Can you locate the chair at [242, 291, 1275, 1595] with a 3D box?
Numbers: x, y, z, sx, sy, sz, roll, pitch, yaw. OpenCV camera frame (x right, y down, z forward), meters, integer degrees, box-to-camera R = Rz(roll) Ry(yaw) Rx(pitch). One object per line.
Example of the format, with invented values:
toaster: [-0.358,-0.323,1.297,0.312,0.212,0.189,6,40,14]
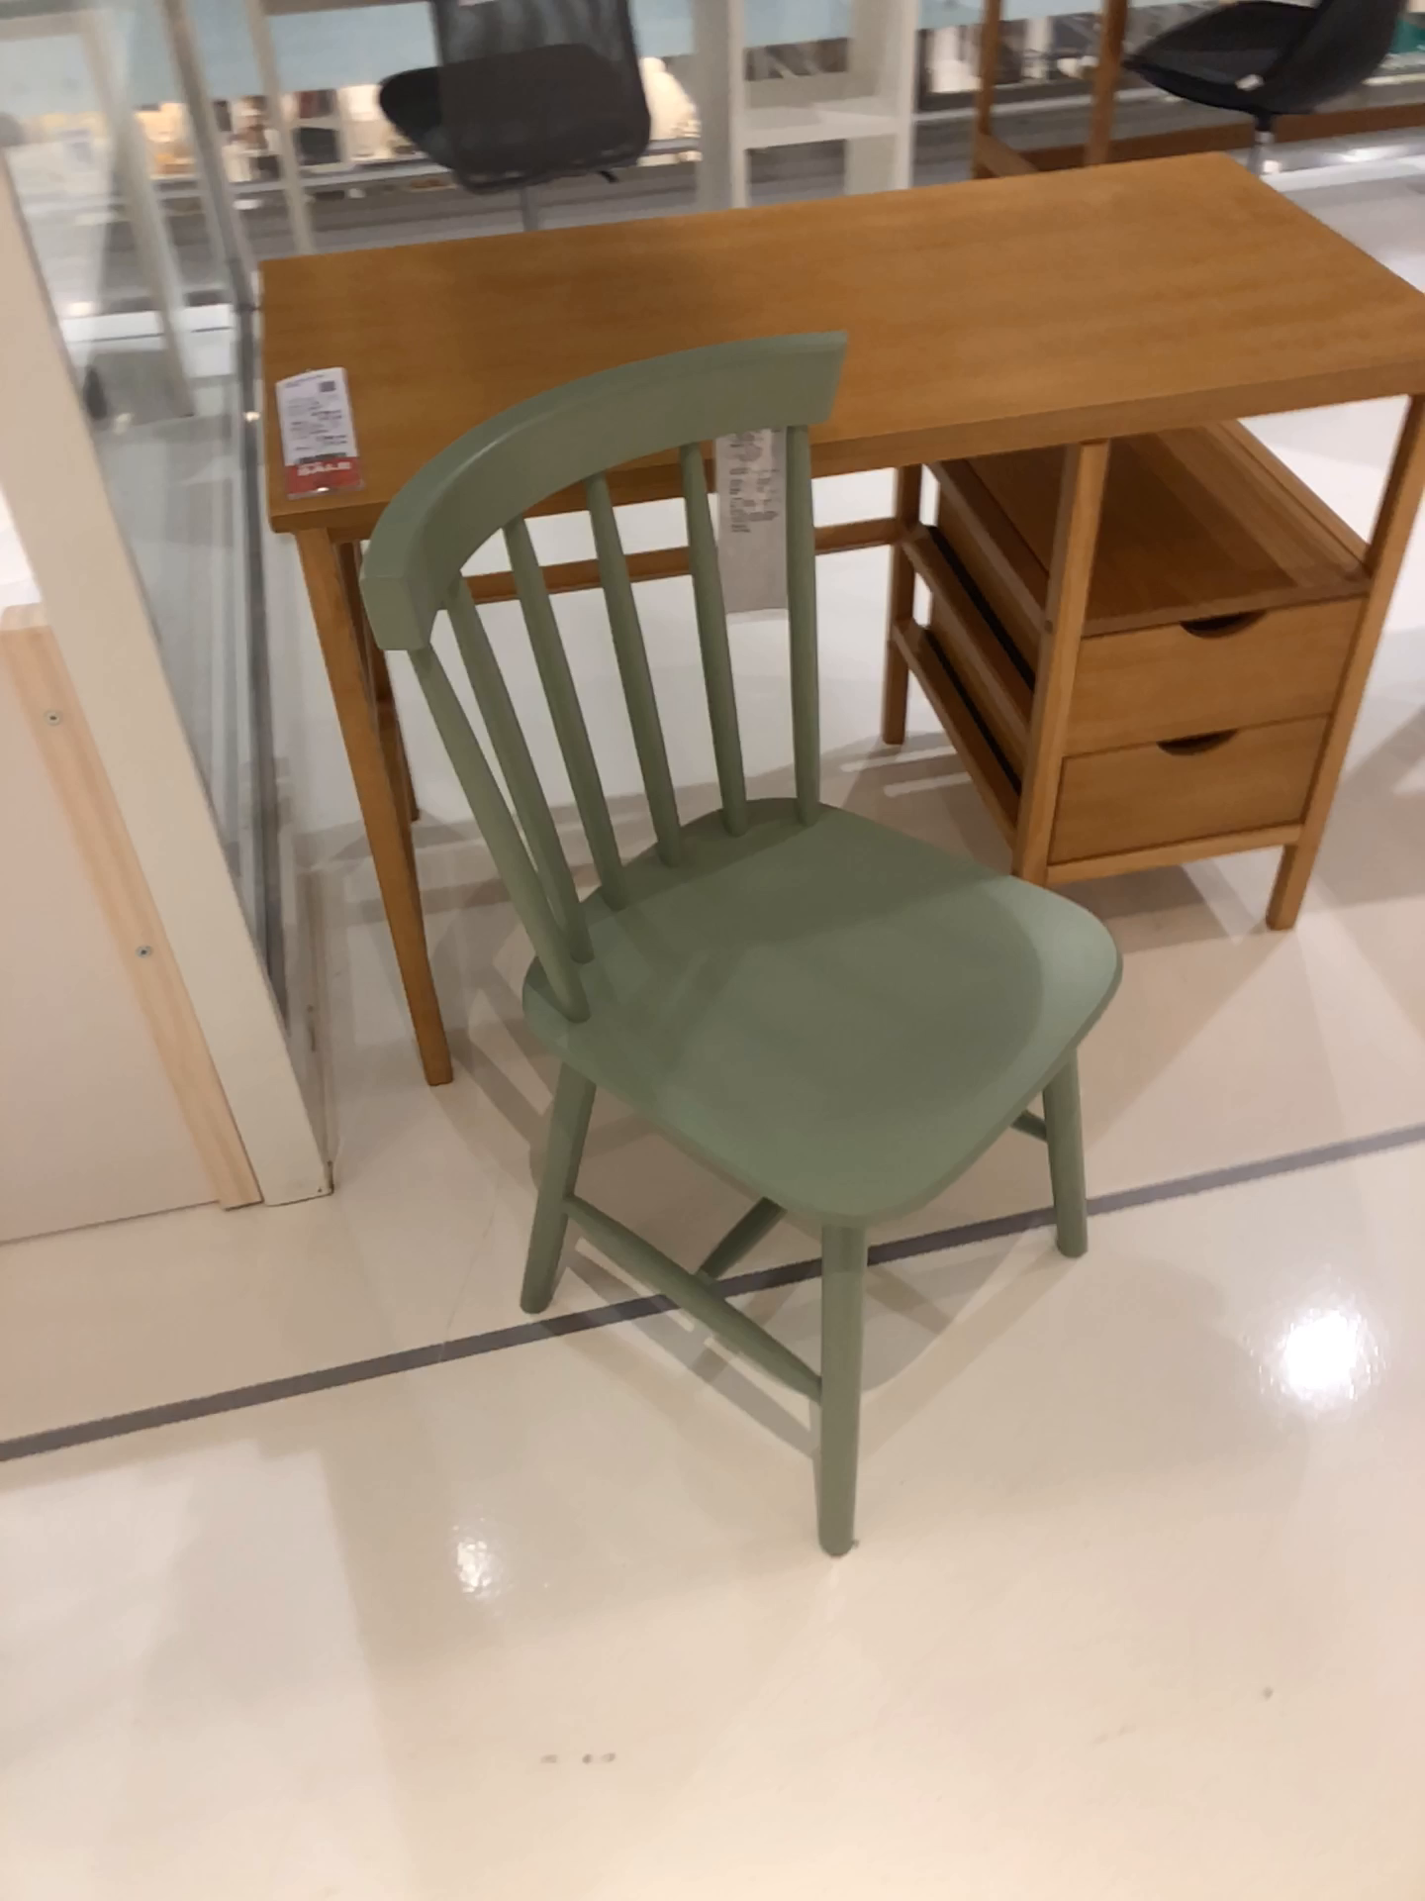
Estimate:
chair: [0.047,0.015,1.253,0.461,0.834,0.452,28,52,29]
